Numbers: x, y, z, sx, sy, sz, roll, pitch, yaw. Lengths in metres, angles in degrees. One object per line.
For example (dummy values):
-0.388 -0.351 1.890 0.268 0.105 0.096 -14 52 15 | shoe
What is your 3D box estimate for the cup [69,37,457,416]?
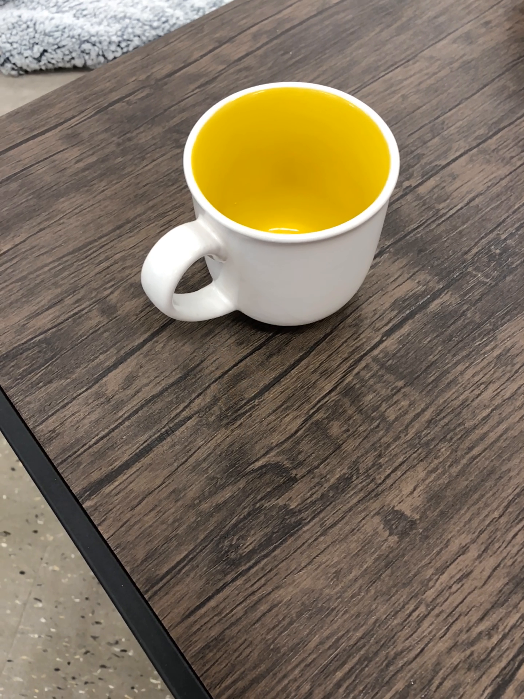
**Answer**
0.002 -0.054 0.272 0.130 0.100 0.080 -33 66 -16 | cup
